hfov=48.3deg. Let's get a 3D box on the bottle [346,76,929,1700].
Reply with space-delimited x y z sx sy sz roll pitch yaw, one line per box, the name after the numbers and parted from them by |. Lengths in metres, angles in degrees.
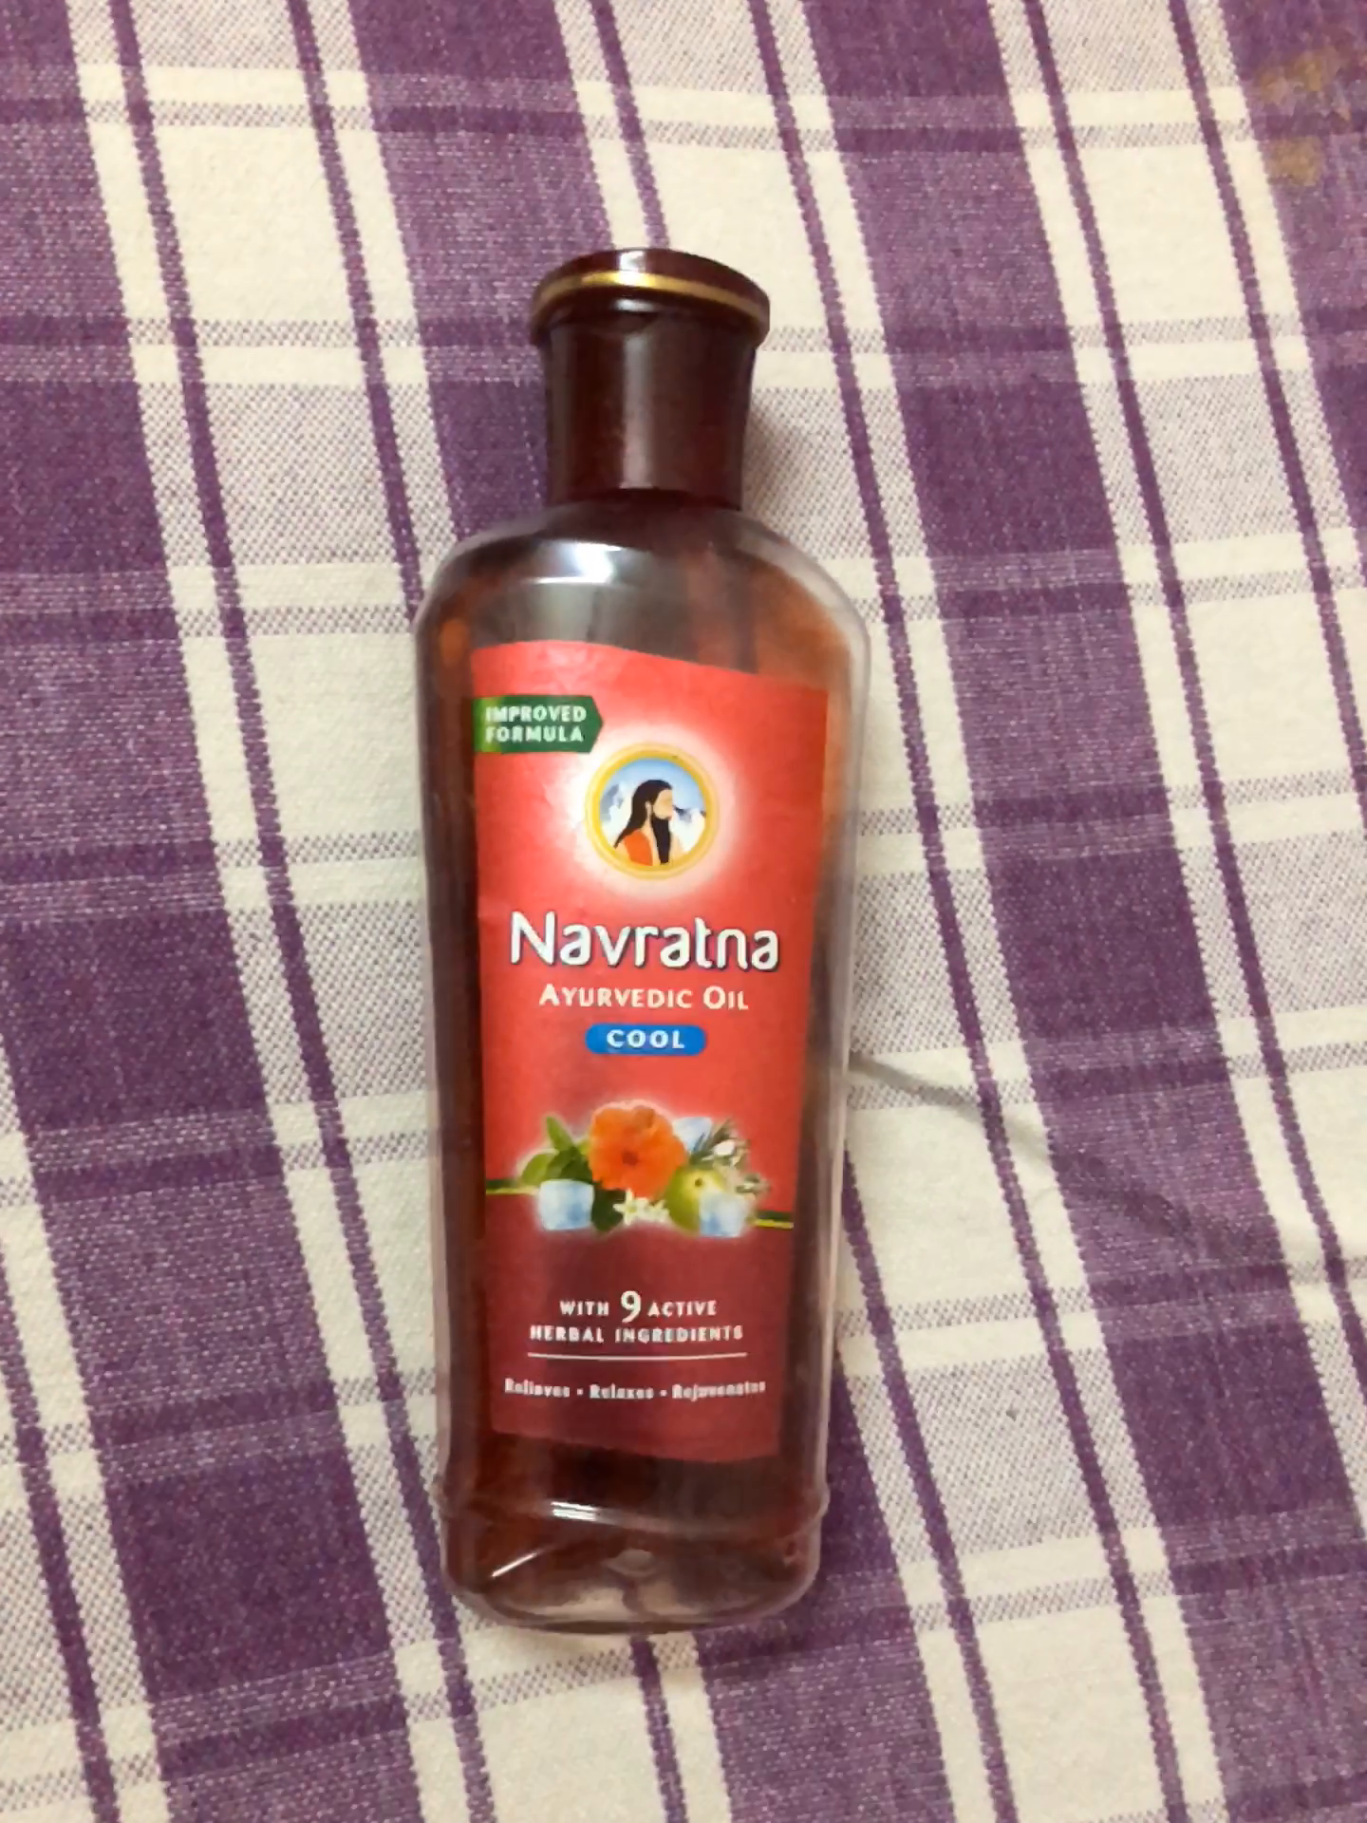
-0.007 -0.004 0.217 0.070 0.050 0.200 2 85 -8 | bottle
